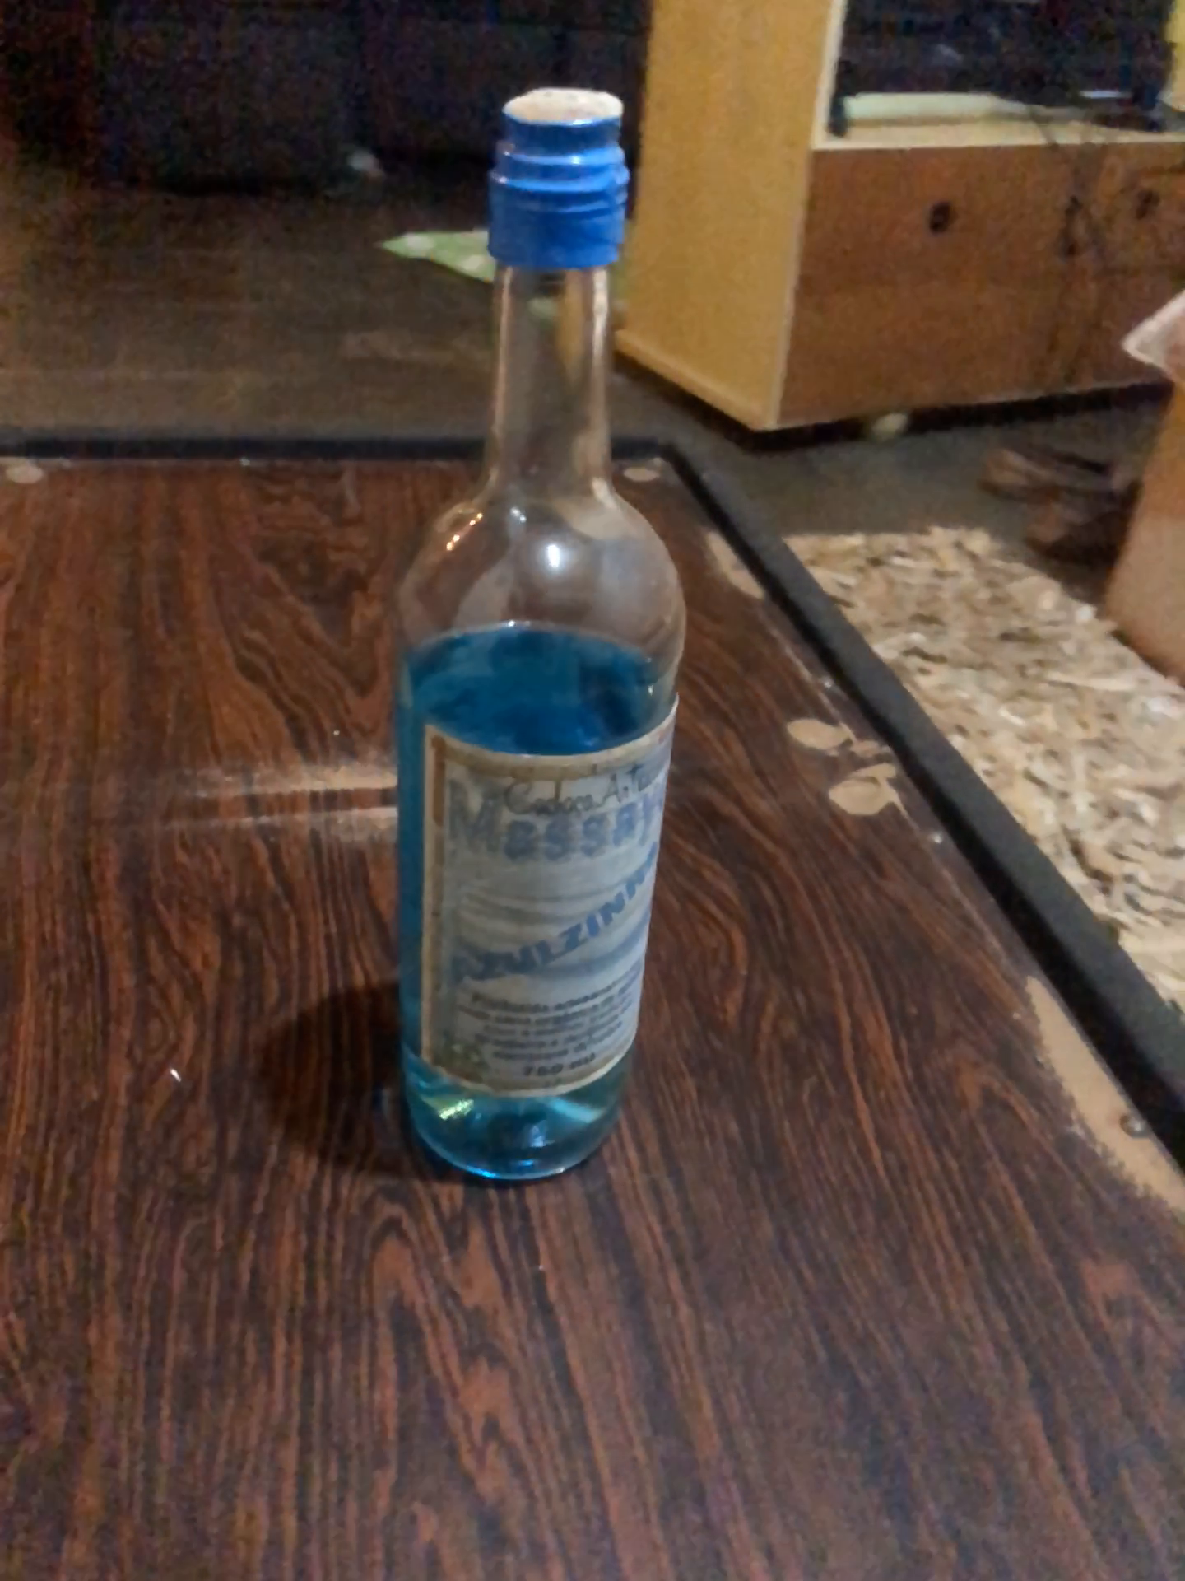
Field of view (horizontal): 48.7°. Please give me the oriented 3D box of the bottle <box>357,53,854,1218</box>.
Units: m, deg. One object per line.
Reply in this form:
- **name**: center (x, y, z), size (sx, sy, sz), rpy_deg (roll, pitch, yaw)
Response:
- **bottle**: center (-0.011, -0.024, 0.356), size (0.080, 0.298, 0.080), rpy_deg (3, 33, -2)
